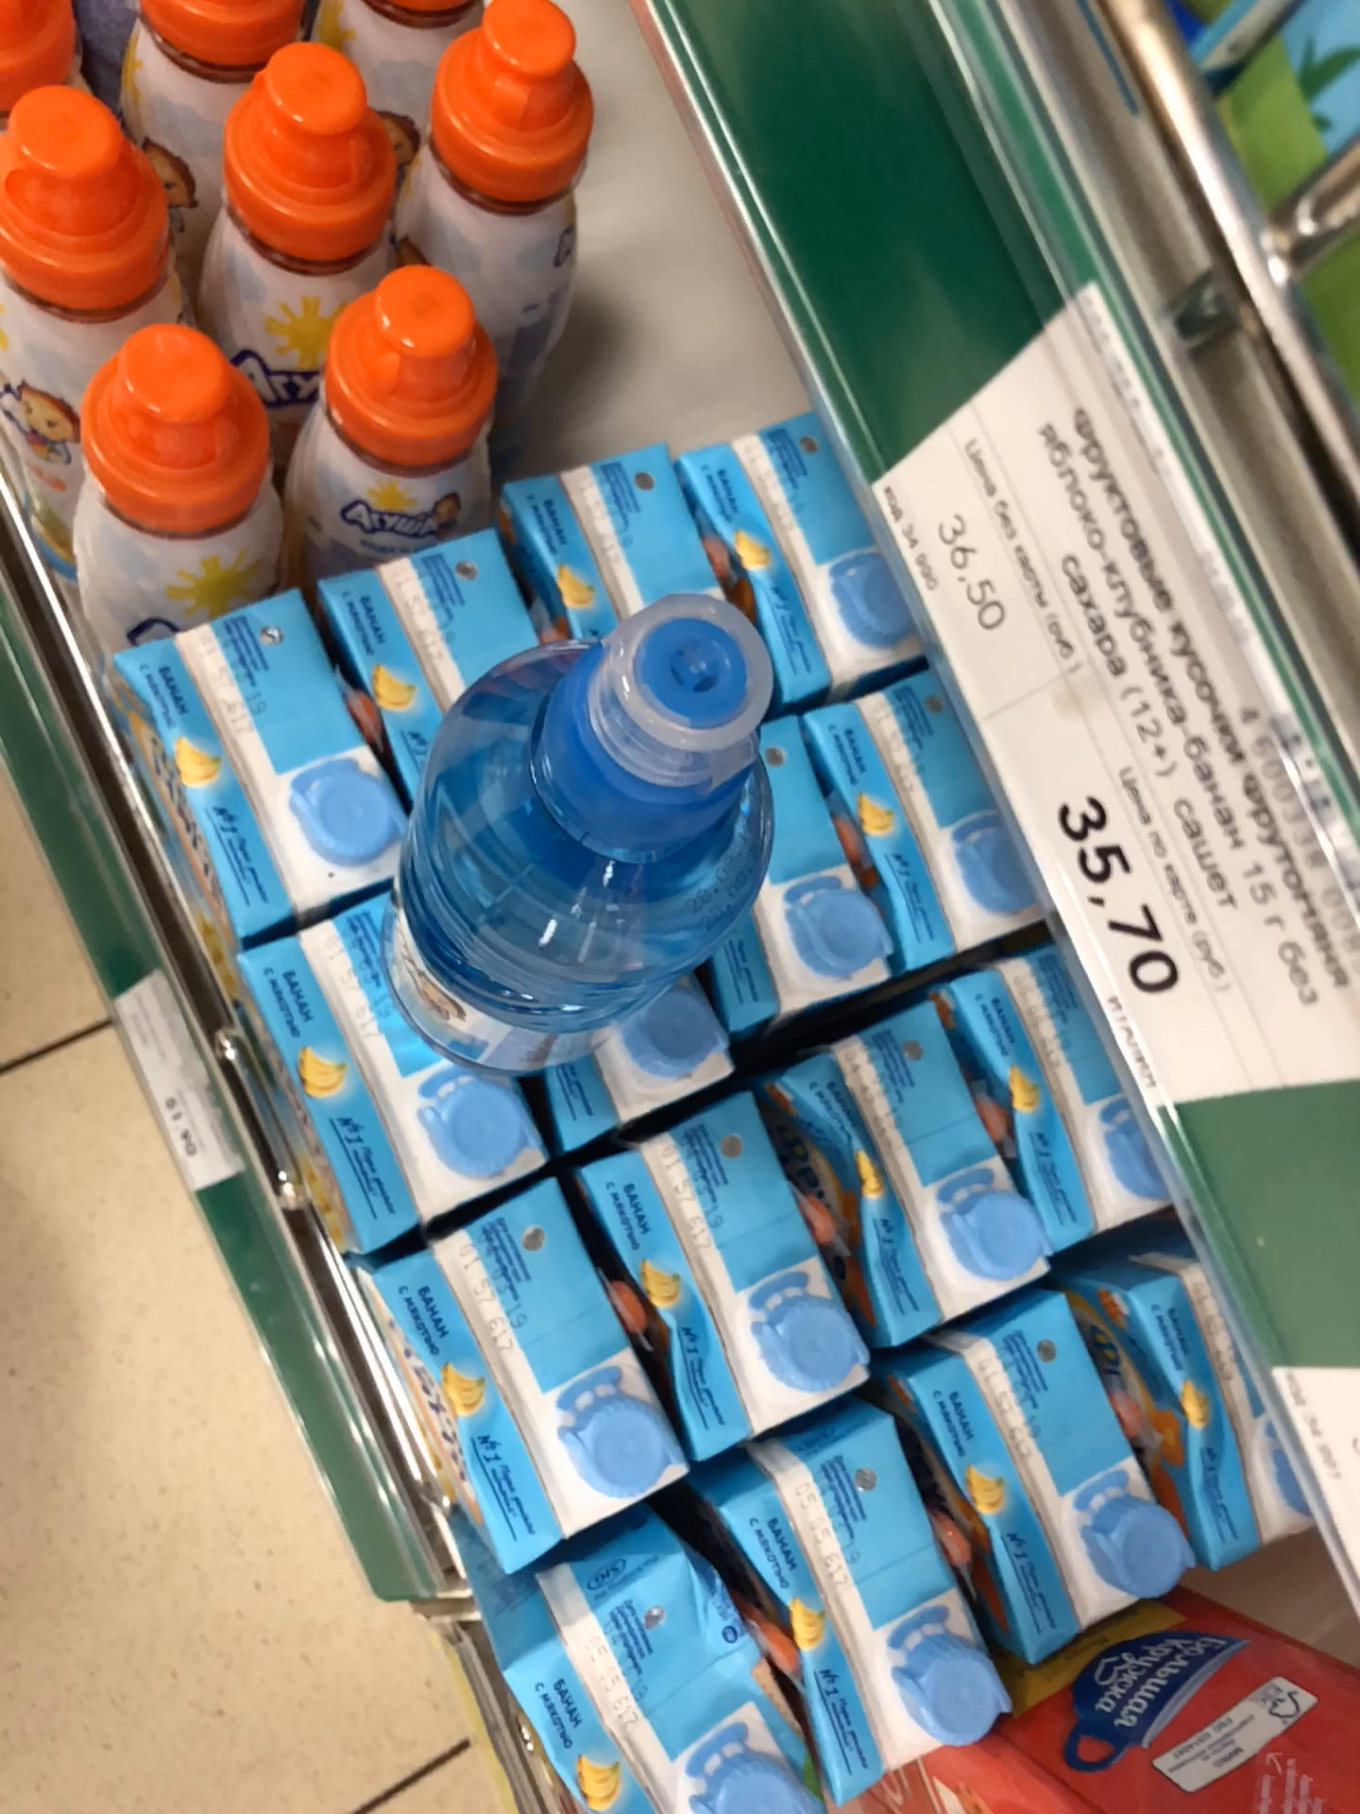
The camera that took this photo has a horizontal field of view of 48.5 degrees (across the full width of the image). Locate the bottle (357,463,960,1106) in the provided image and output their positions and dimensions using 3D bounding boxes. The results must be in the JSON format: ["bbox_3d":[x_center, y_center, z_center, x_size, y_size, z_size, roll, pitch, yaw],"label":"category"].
[{"bbox_3d":[-0.020,-0.007,0.274,0.056,0.174,0.060,3,77,-14],"label":"bottle"}]
